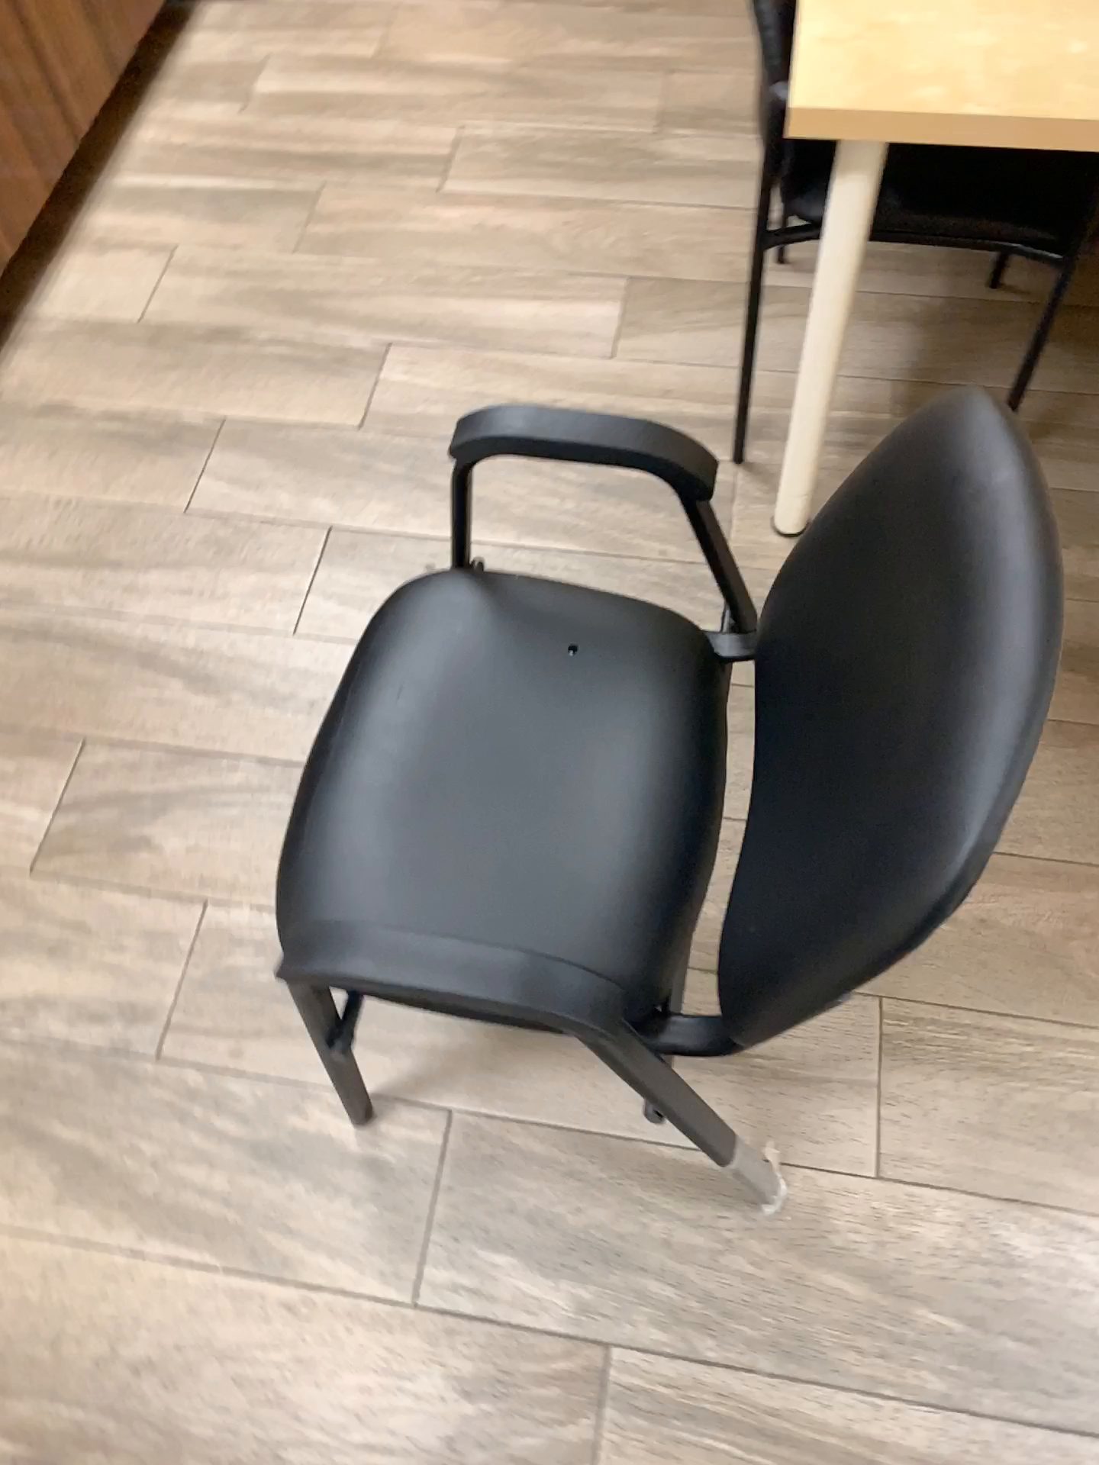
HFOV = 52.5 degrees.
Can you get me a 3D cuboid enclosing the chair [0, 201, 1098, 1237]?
[{"bbox_3d":[0.058,0.061,1.077,0.624,0.797,0.607,8,61,8],"label":"chair"}]
